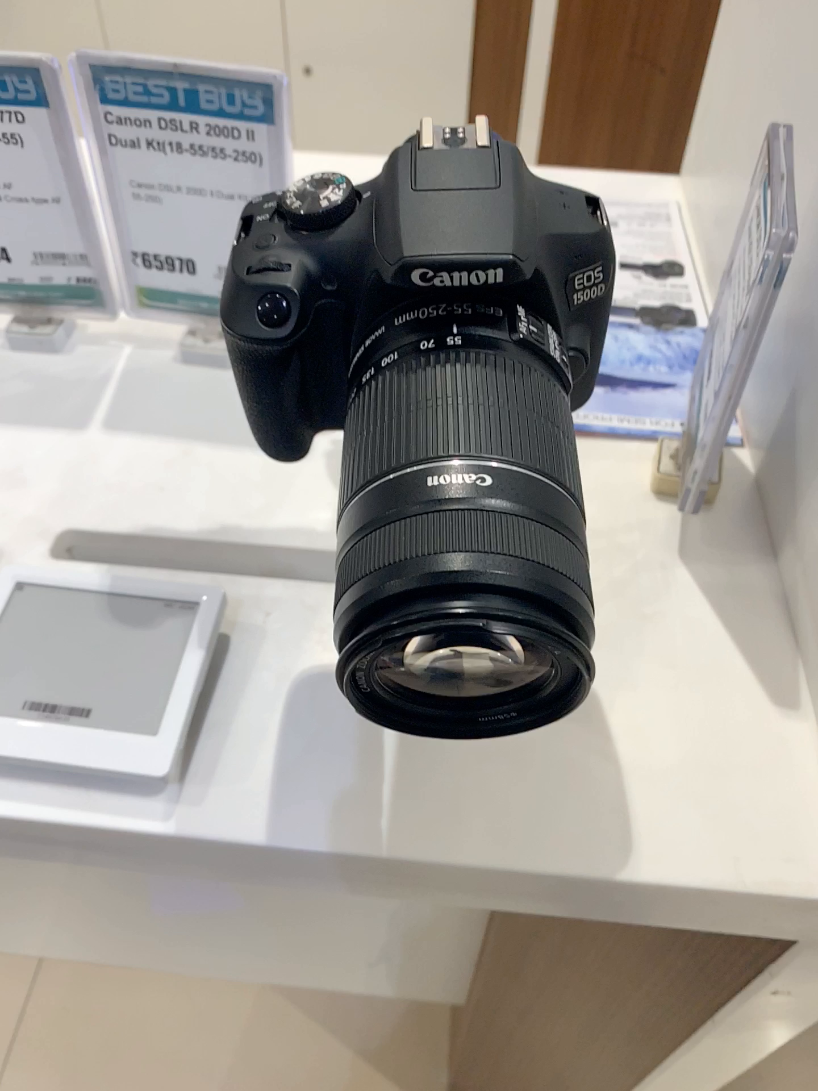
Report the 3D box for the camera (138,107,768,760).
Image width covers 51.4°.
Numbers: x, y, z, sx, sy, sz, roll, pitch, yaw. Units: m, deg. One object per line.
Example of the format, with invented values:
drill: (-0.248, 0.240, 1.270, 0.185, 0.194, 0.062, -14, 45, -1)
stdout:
camera: (0.006, -0.035, 0.241, 0.117, 0.090, 0.164, 0, 56, -2)
